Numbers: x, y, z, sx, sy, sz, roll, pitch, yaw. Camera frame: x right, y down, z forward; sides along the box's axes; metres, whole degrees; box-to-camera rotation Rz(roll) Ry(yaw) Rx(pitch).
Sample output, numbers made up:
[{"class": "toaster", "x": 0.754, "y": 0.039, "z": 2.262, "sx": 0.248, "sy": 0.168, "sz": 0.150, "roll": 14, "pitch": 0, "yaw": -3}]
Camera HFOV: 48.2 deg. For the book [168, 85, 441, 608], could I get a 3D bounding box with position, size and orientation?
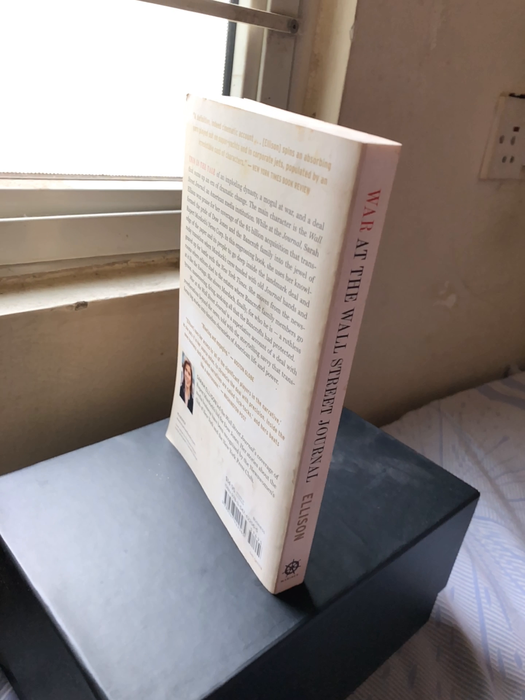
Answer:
[{"class": "book", "x": -0.002, "y": -0.011, "z": 0.279, "sx": 0.030, "sy": 0.199, "sz": 0.150, "roll": -6, "pitch": 27, "yaw": -27}]
